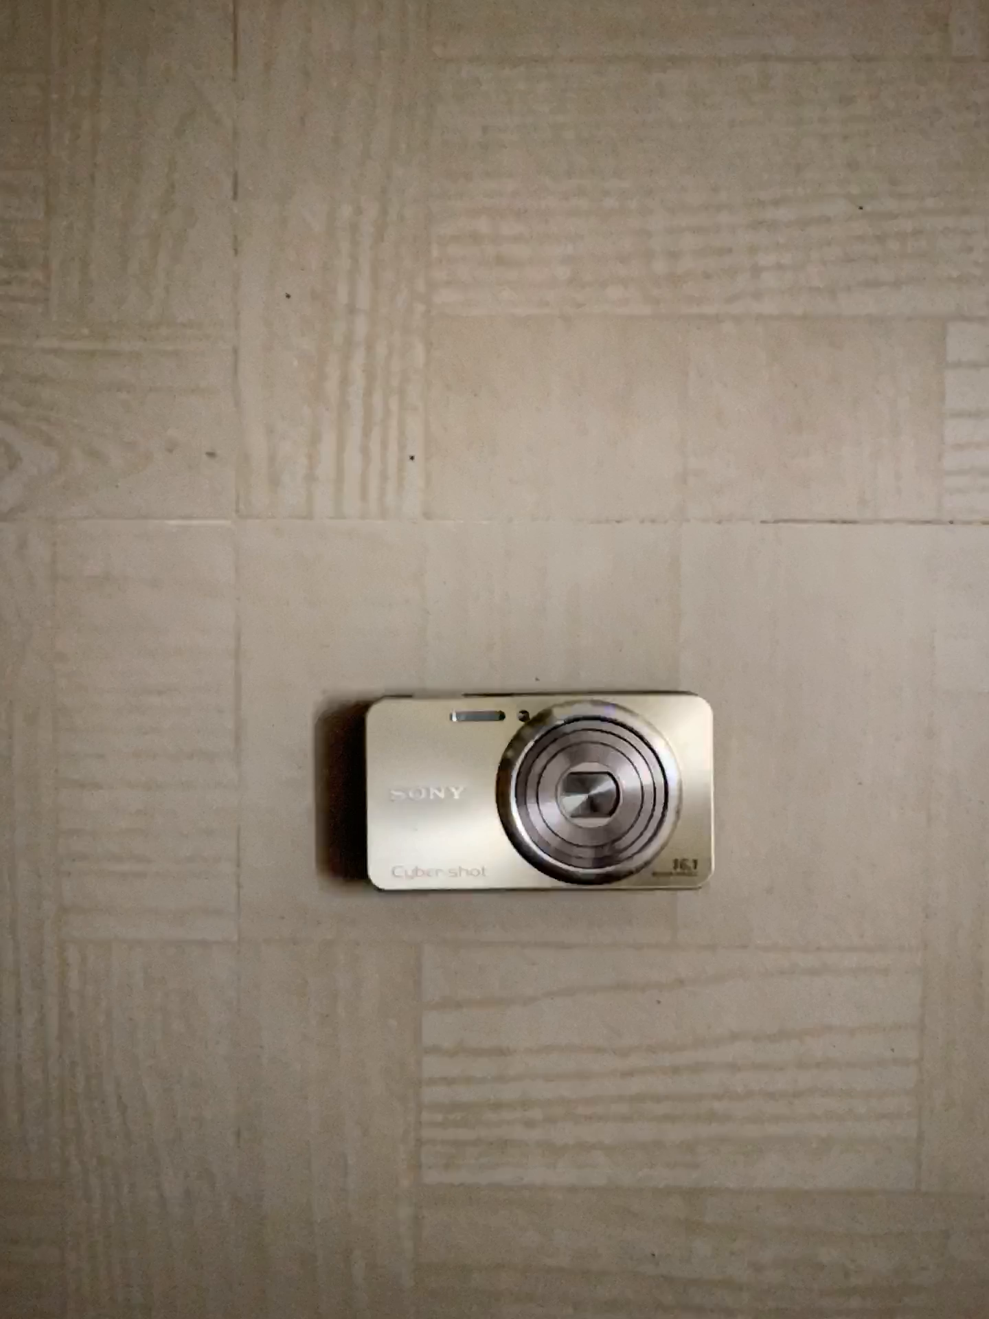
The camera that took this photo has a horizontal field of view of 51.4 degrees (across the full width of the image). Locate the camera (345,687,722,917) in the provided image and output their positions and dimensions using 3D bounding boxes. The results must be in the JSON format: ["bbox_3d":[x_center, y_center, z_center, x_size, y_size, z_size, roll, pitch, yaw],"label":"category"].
[{"bbox_3d":[0.010,0.037,0.278,0.097,0.019,0.057,1,92,0],"label":"camera"}]
